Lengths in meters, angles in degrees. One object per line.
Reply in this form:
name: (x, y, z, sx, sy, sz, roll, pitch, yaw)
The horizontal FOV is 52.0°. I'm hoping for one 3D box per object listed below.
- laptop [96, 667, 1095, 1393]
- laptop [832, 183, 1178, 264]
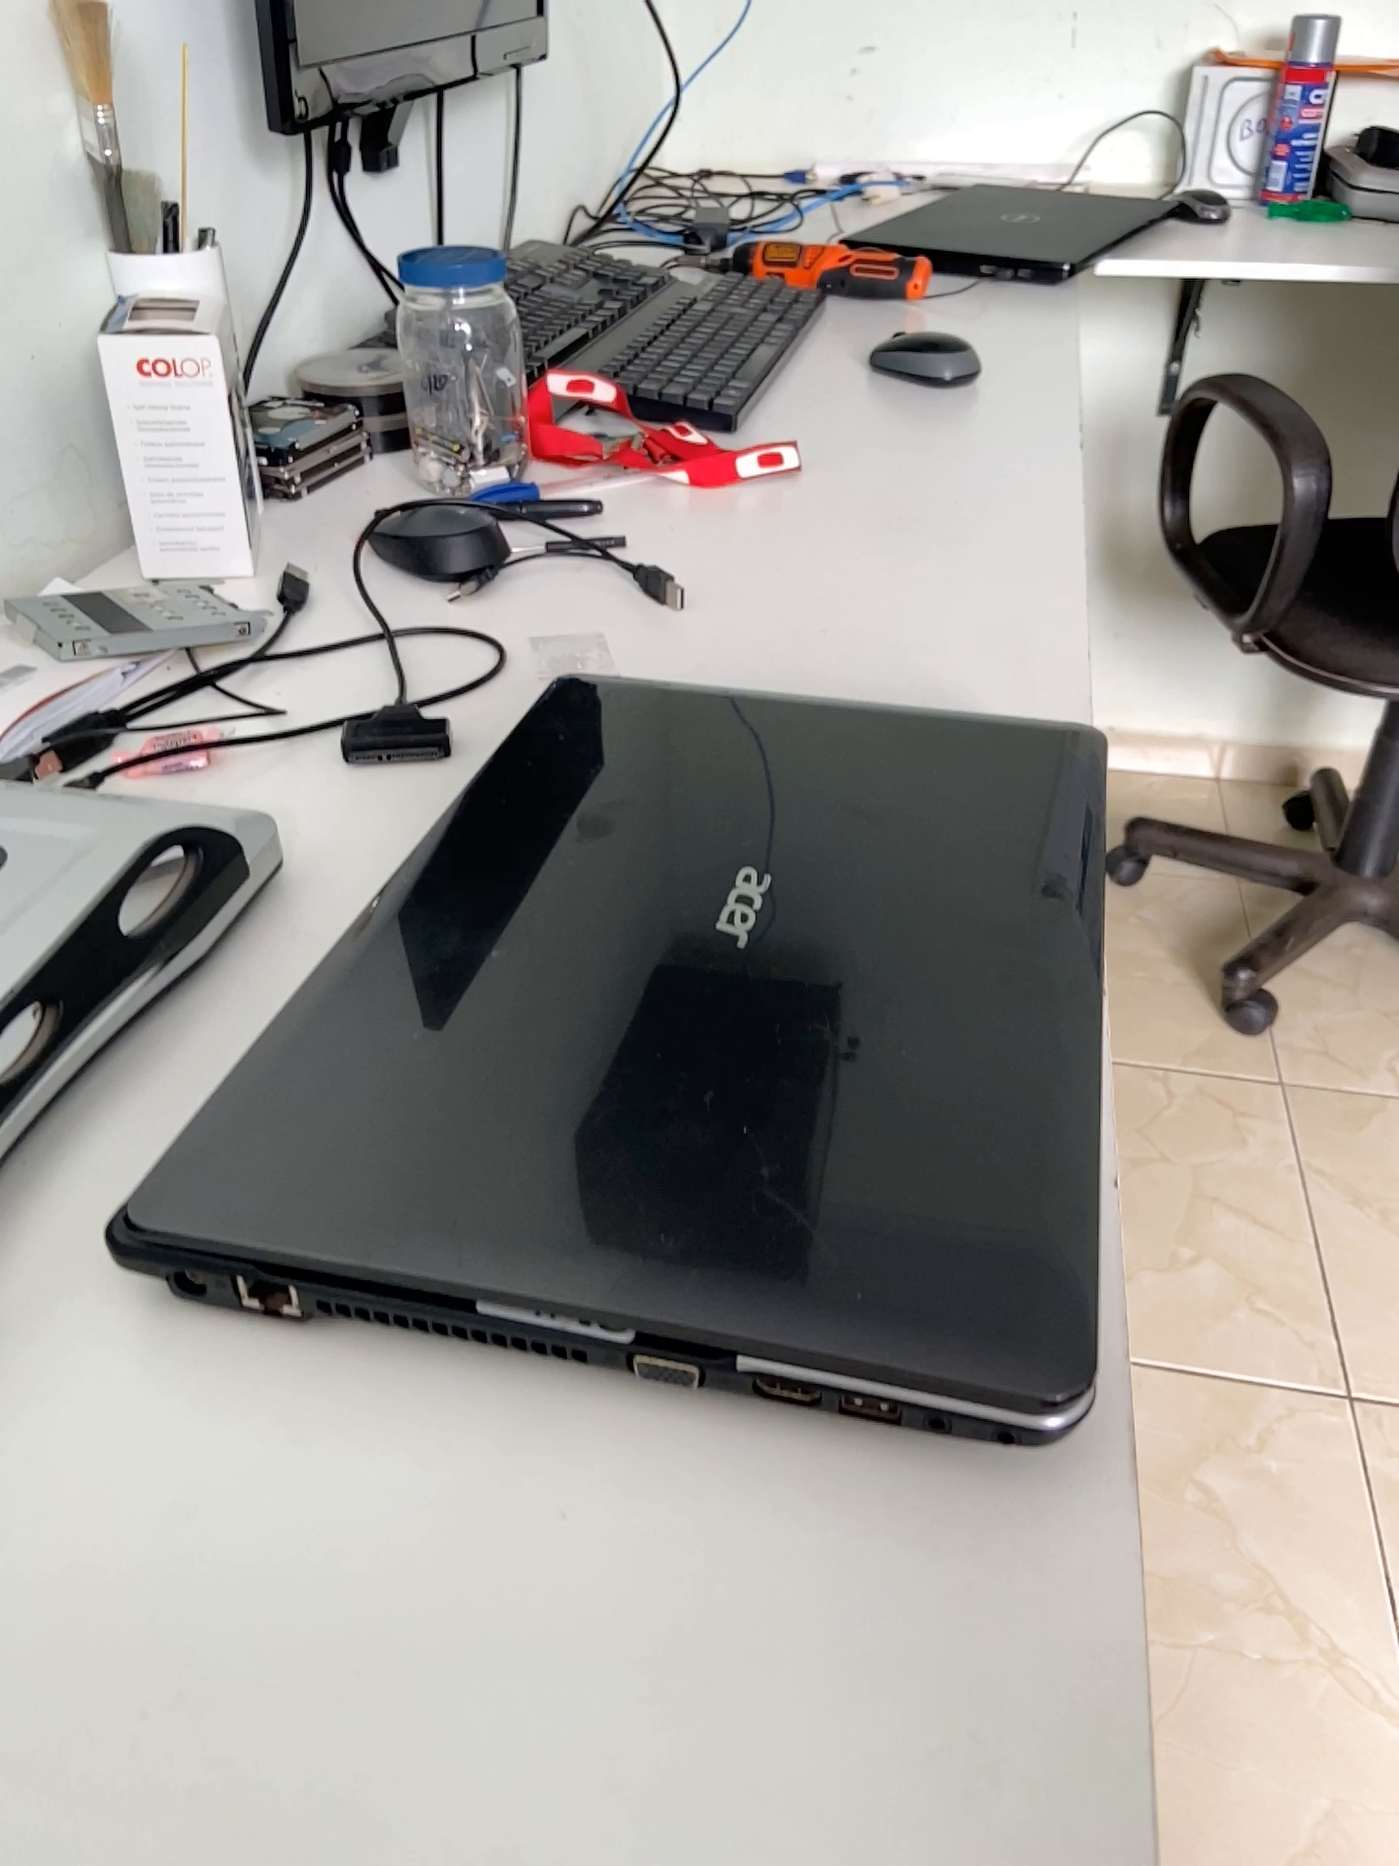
laptop: (0.006, -0.009, 0.460, 0.230, 0.005, 0.337, 7, 34, 12)
laptop: (0.305, -0.688, 1.378, 0.238, 0.001, 0.437, 17, 37, 25)
